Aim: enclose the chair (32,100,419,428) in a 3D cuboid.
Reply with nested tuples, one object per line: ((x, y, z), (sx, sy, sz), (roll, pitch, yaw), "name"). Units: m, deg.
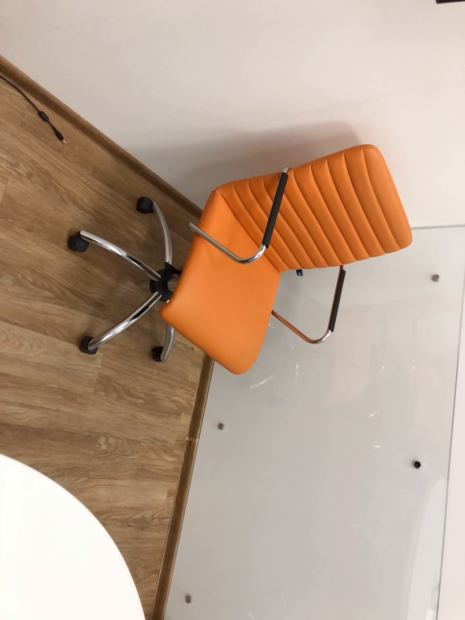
((0.016, -0.090, 1.600), (0.623, 0.895, 0.661), (38, 61, -51), "chair")
